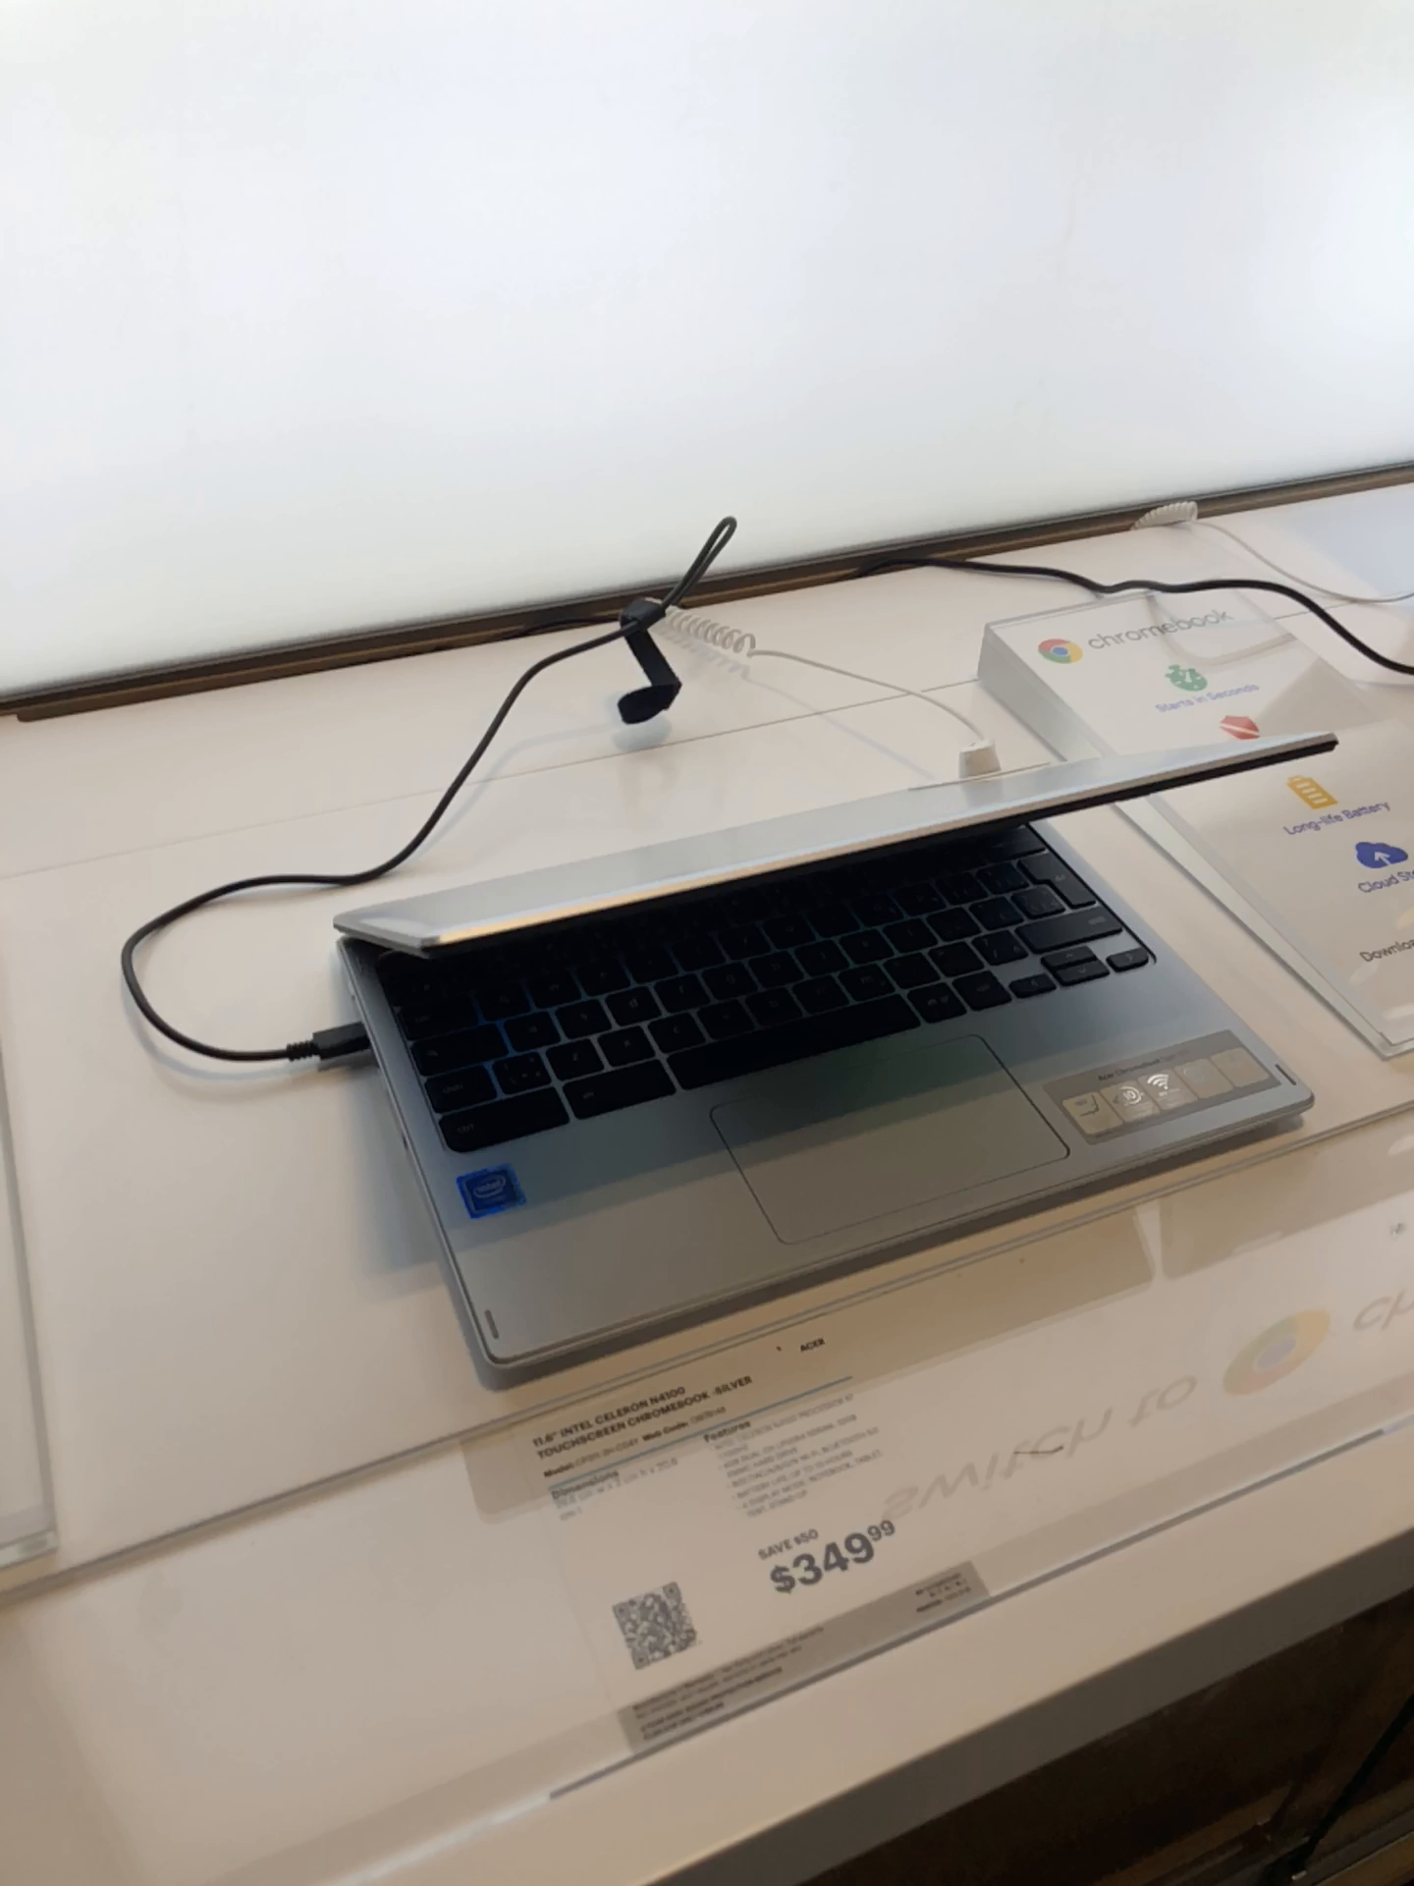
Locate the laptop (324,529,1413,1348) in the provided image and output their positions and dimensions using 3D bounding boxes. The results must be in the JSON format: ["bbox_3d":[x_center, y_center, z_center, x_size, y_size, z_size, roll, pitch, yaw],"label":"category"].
[{"bbox_3d":[0.041,-0.022,0.512,0.279,0.123,0.192,-13,42,-20],"label":"laptop"}]
